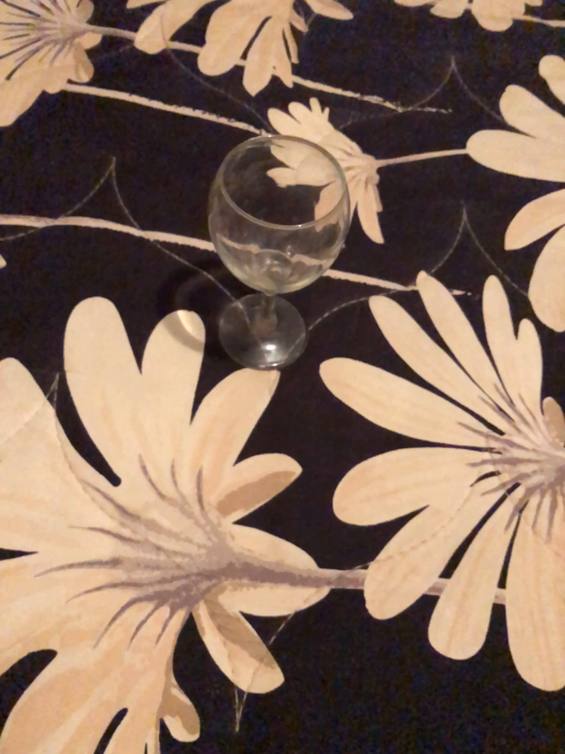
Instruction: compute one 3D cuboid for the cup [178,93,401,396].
[{"bbox_3d":[-0.002,-0.071,0.378,0.082,0.139,0.084,3,62,-6],"label":"cup"}]
